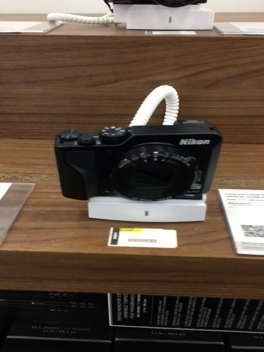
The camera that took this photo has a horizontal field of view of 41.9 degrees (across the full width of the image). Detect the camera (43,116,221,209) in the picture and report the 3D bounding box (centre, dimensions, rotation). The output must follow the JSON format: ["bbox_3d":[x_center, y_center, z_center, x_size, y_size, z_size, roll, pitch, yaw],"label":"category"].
[{"bbox_3d":[-0.001,-0.010,0.296,0.133,0.074,0.034,-3,41,-3],"label":"camera"}]
